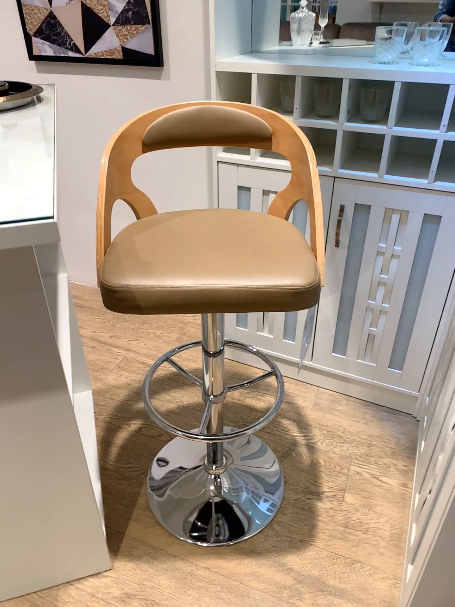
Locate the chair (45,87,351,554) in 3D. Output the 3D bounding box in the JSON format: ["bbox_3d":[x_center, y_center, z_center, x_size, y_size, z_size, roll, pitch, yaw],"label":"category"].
[{"bbox_3d":[-0.039,0.082,1.124,0.430,1.045,0.462,1,32,1],"label":"chair"}]
